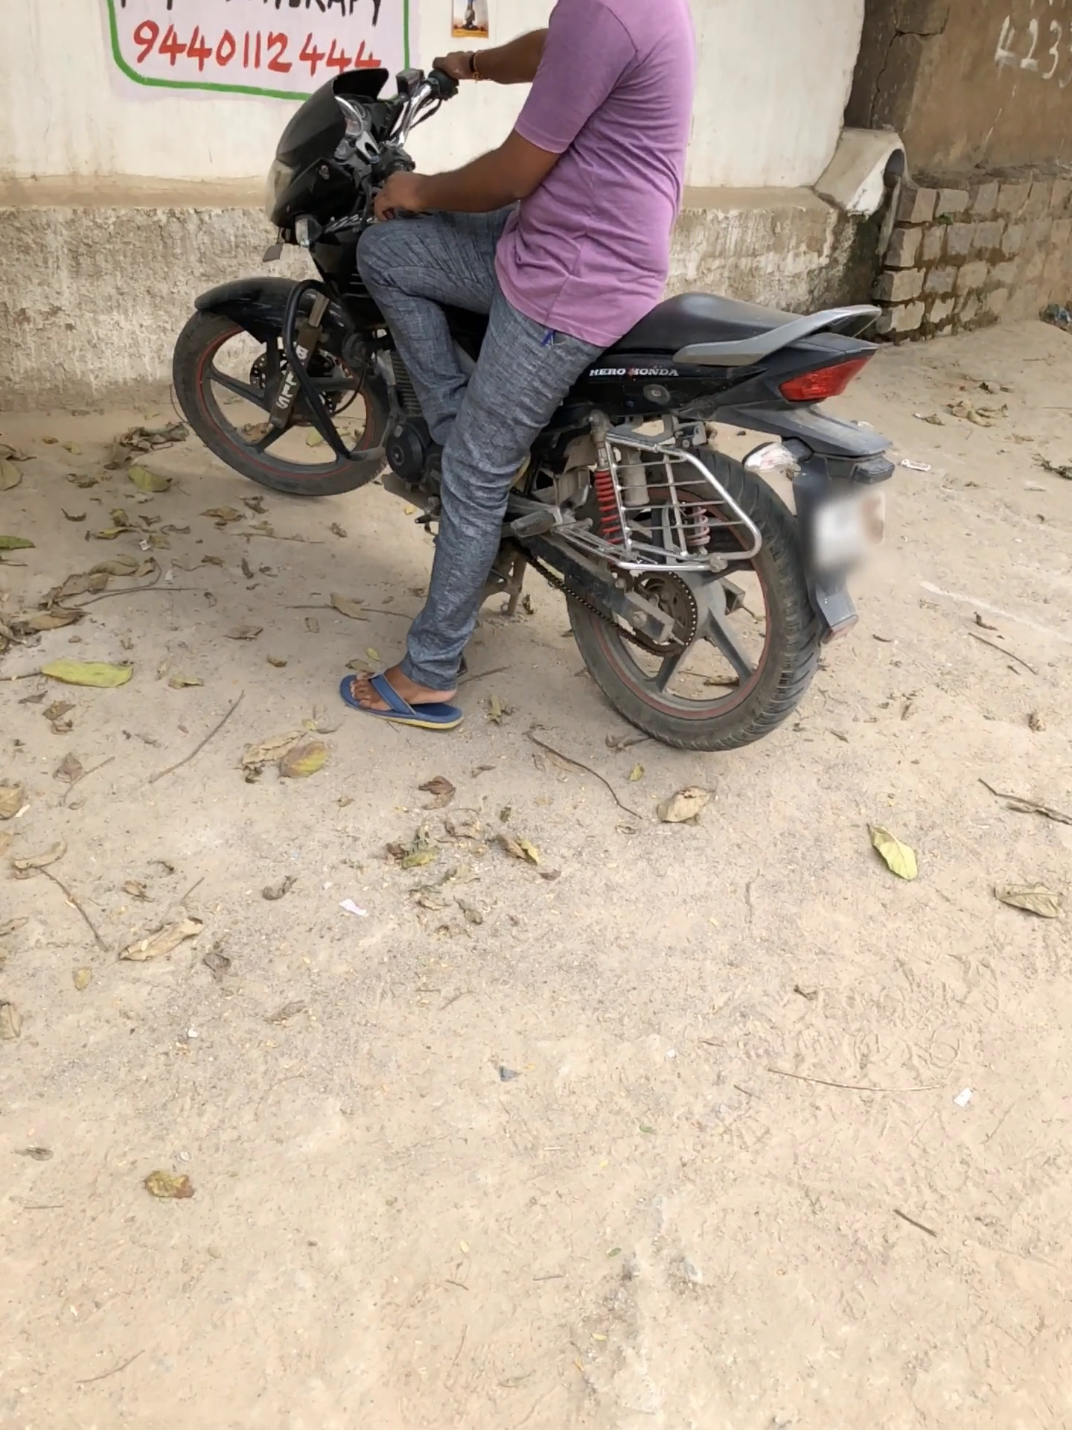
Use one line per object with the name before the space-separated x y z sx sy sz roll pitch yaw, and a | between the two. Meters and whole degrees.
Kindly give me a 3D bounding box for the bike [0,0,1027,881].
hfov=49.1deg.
bike | -0.209 -0.747 2.445 1.837 1.189 0.829 27 38 28
